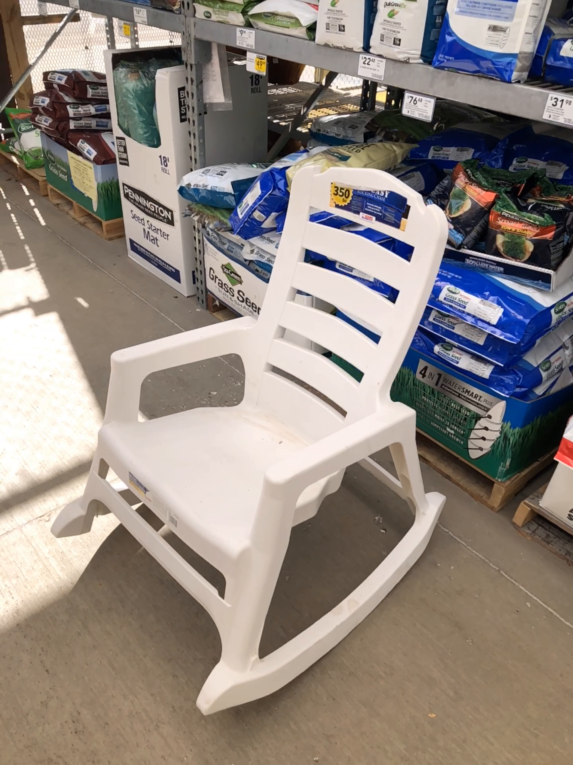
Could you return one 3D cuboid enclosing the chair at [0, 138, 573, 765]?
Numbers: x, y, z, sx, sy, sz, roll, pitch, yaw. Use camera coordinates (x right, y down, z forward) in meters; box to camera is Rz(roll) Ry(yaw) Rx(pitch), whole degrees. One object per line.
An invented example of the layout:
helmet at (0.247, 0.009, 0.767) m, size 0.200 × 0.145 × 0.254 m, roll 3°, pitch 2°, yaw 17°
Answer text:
chair at (-0.044, 0.044, 1.532) m, size 1.034 × 0.927 × 0.846 m, roll -26°, pitch 44°, yaw -37°
